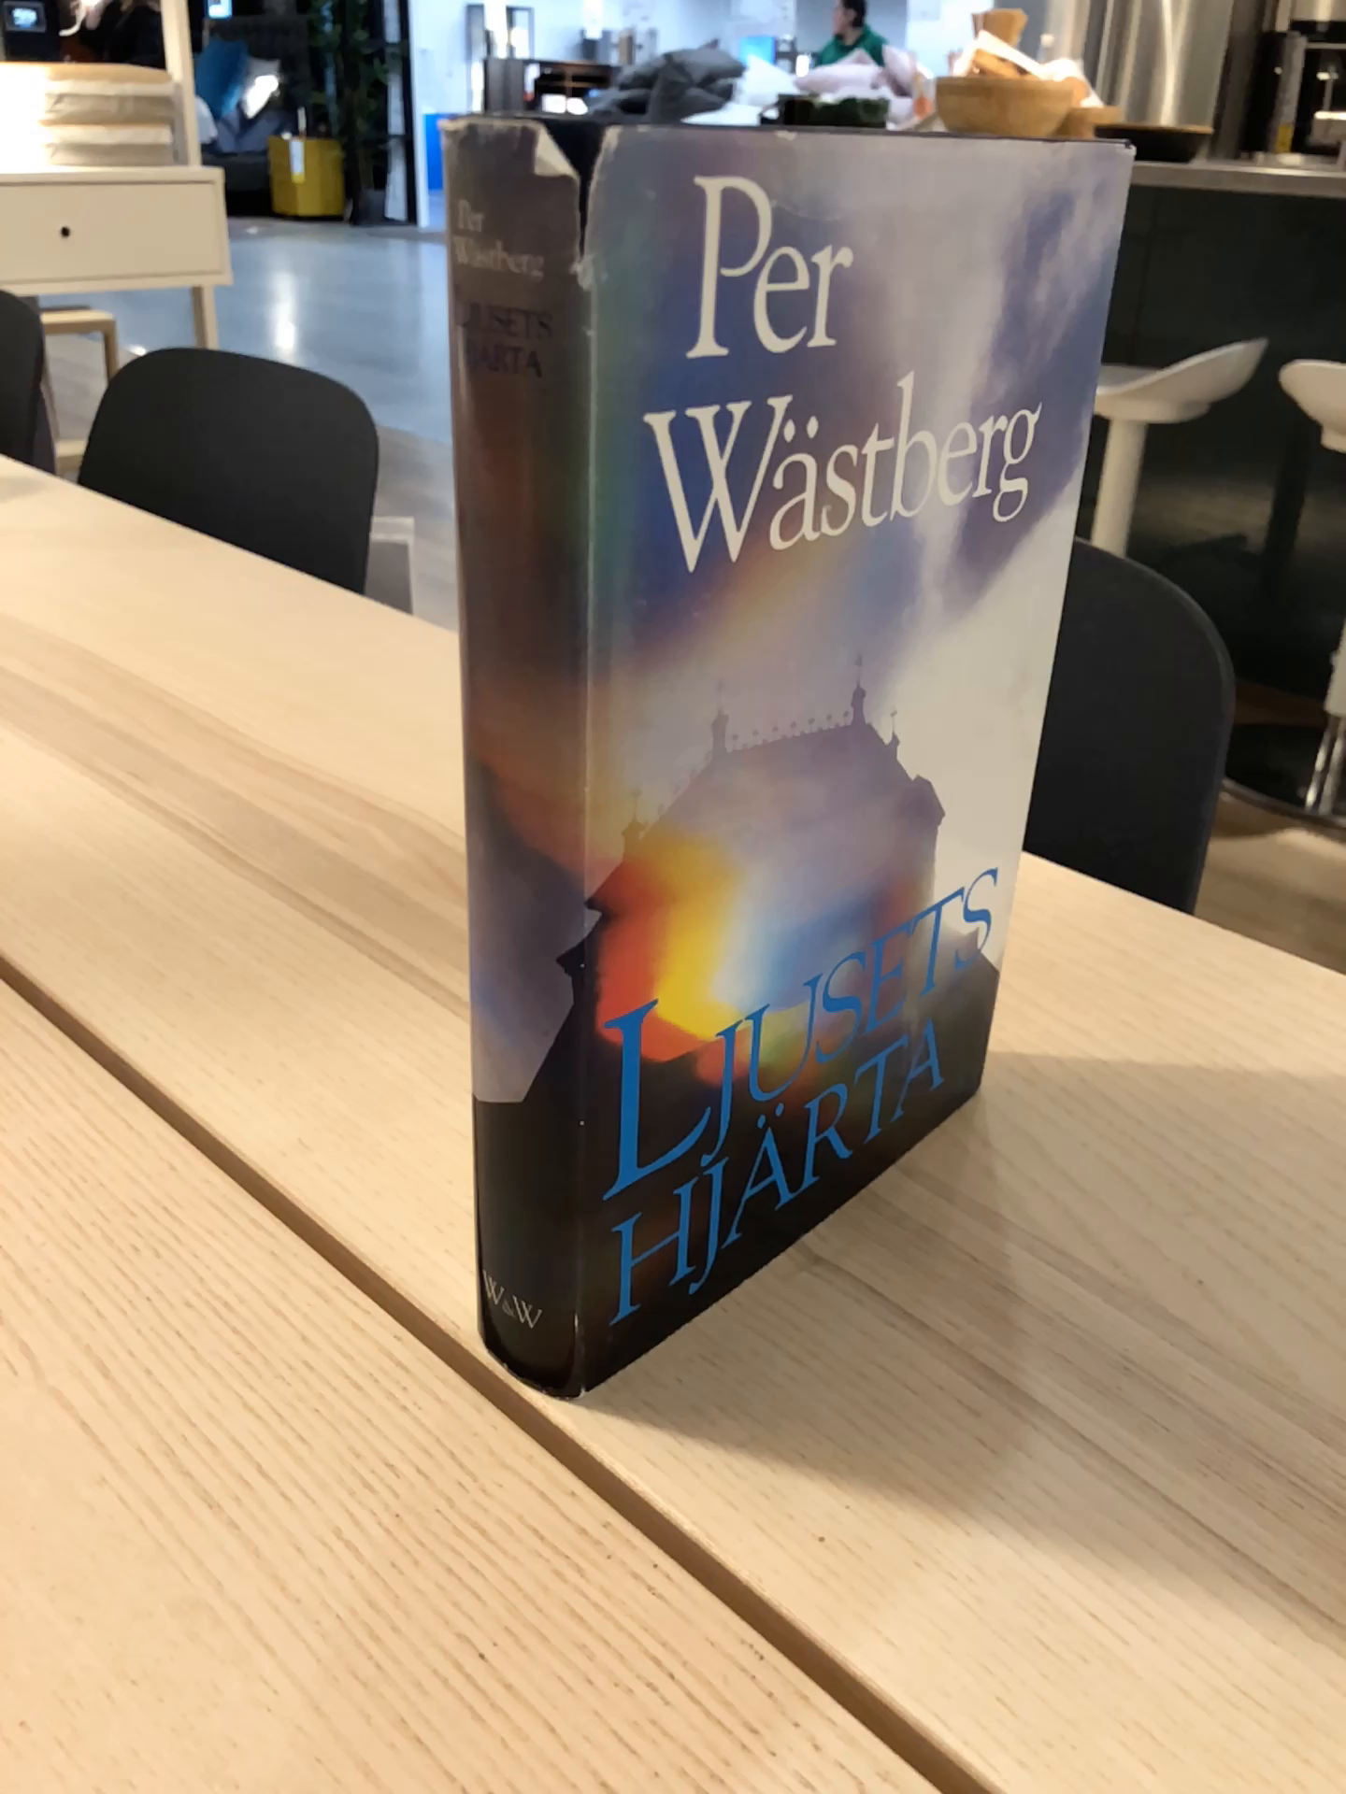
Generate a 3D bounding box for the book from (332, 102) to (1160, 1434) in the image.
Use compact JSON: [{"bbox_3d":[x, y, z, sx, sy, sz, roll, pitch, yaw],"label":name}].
[{"bbox_3d":[0.021,-0.031,0.300,0.042,0.221,0.167,24,34,36],"label":"book"}]
